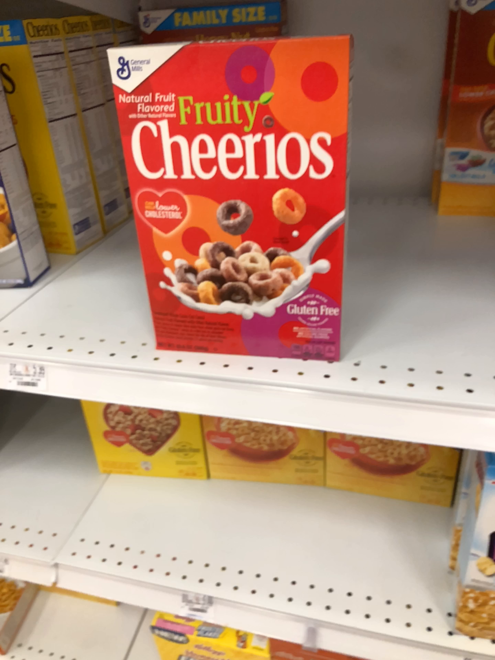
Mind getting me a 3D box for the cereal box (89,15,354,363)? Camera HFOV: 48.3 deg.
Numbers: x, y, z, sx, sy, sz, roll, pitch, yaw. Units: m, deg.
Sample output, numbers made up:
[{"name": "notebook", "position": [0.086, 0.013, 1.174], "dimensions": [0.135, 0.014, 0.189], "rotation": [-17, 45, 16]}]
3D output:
[{"name": "cereal box", "position": [-0.009, -0.113, 0.507], "dimensions": [0.200, 0.289, 0.060], "rotation": [3, 31, 14]}]
